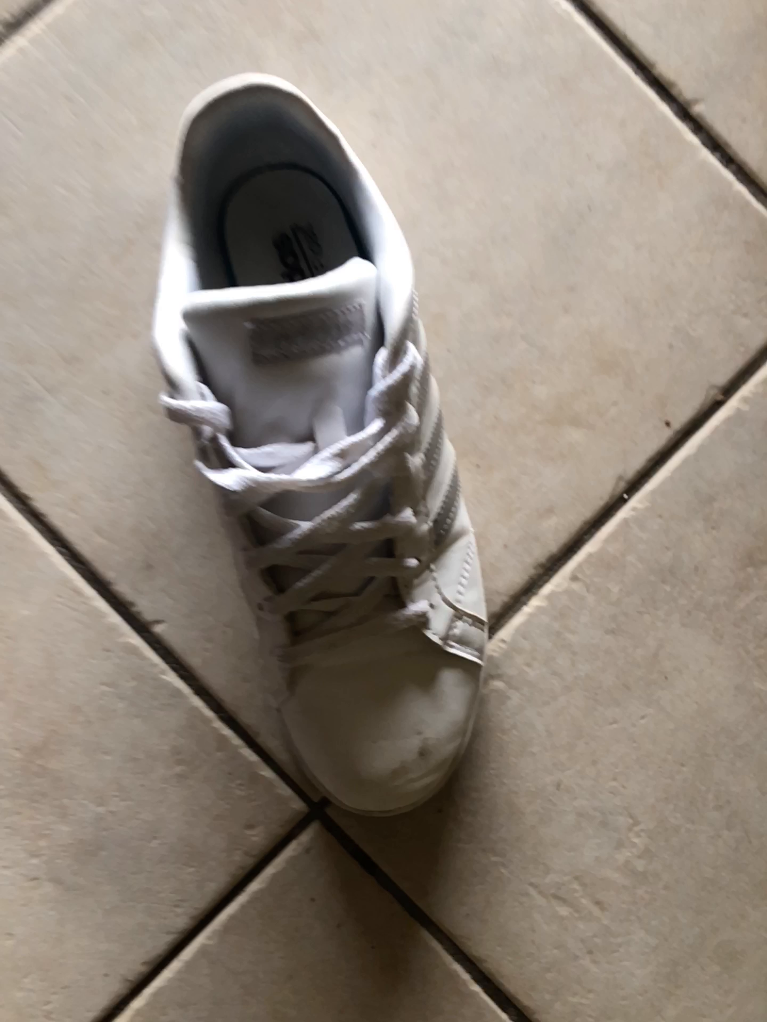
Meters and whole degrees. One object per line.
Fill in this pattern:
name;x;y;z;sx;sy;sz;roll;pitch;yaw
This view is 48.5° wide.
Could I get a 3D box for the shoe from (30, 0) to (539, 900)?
shoe;-0.032;-0.030;0.297;0.090;0.100;0.270;-13;88;-4
